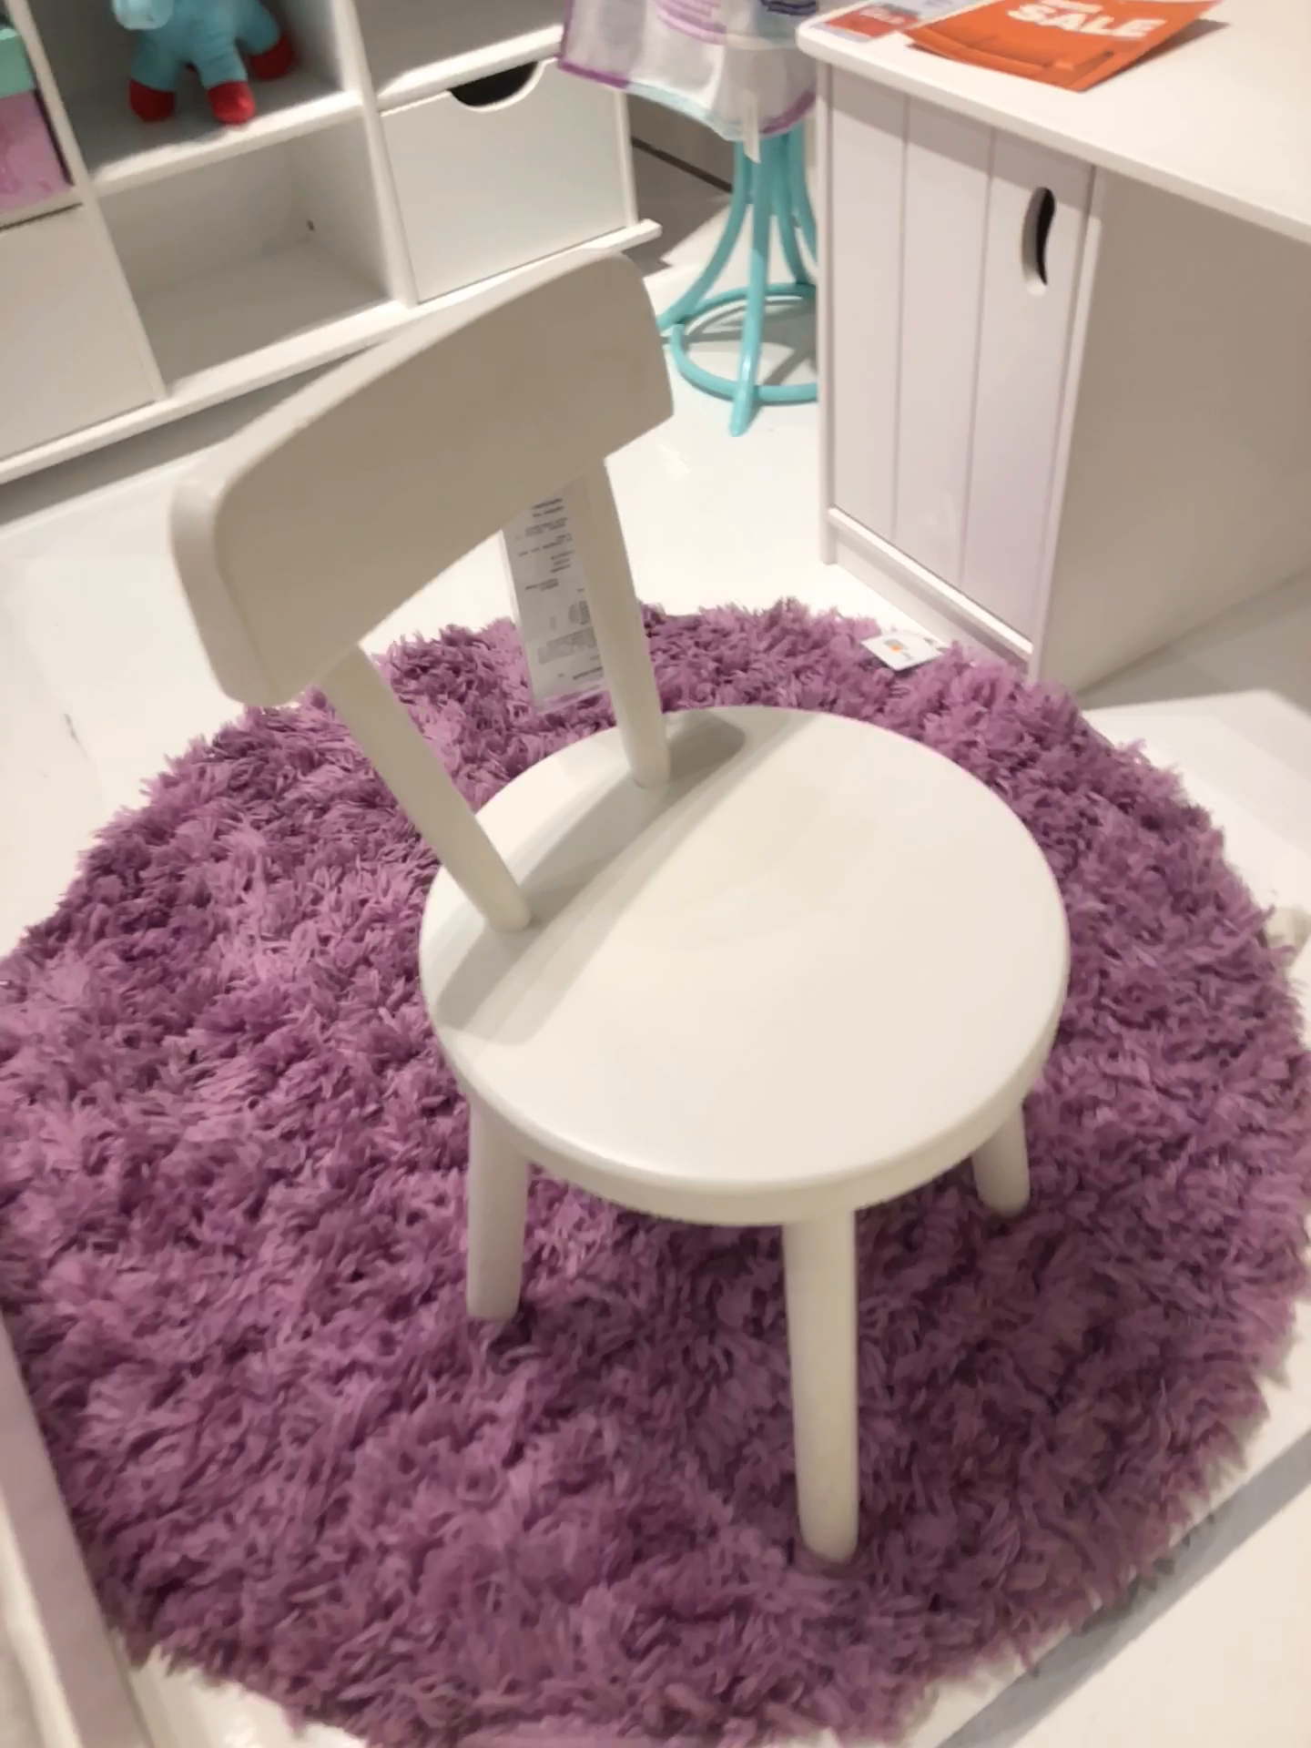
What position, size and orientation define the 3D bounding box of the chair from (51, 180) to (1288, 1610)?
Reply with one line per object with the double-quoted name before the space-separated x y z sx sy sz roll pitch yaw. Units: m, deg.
"chair" 0.039 0.038 0.711 0.311 0.576 0.321 23 53 25
